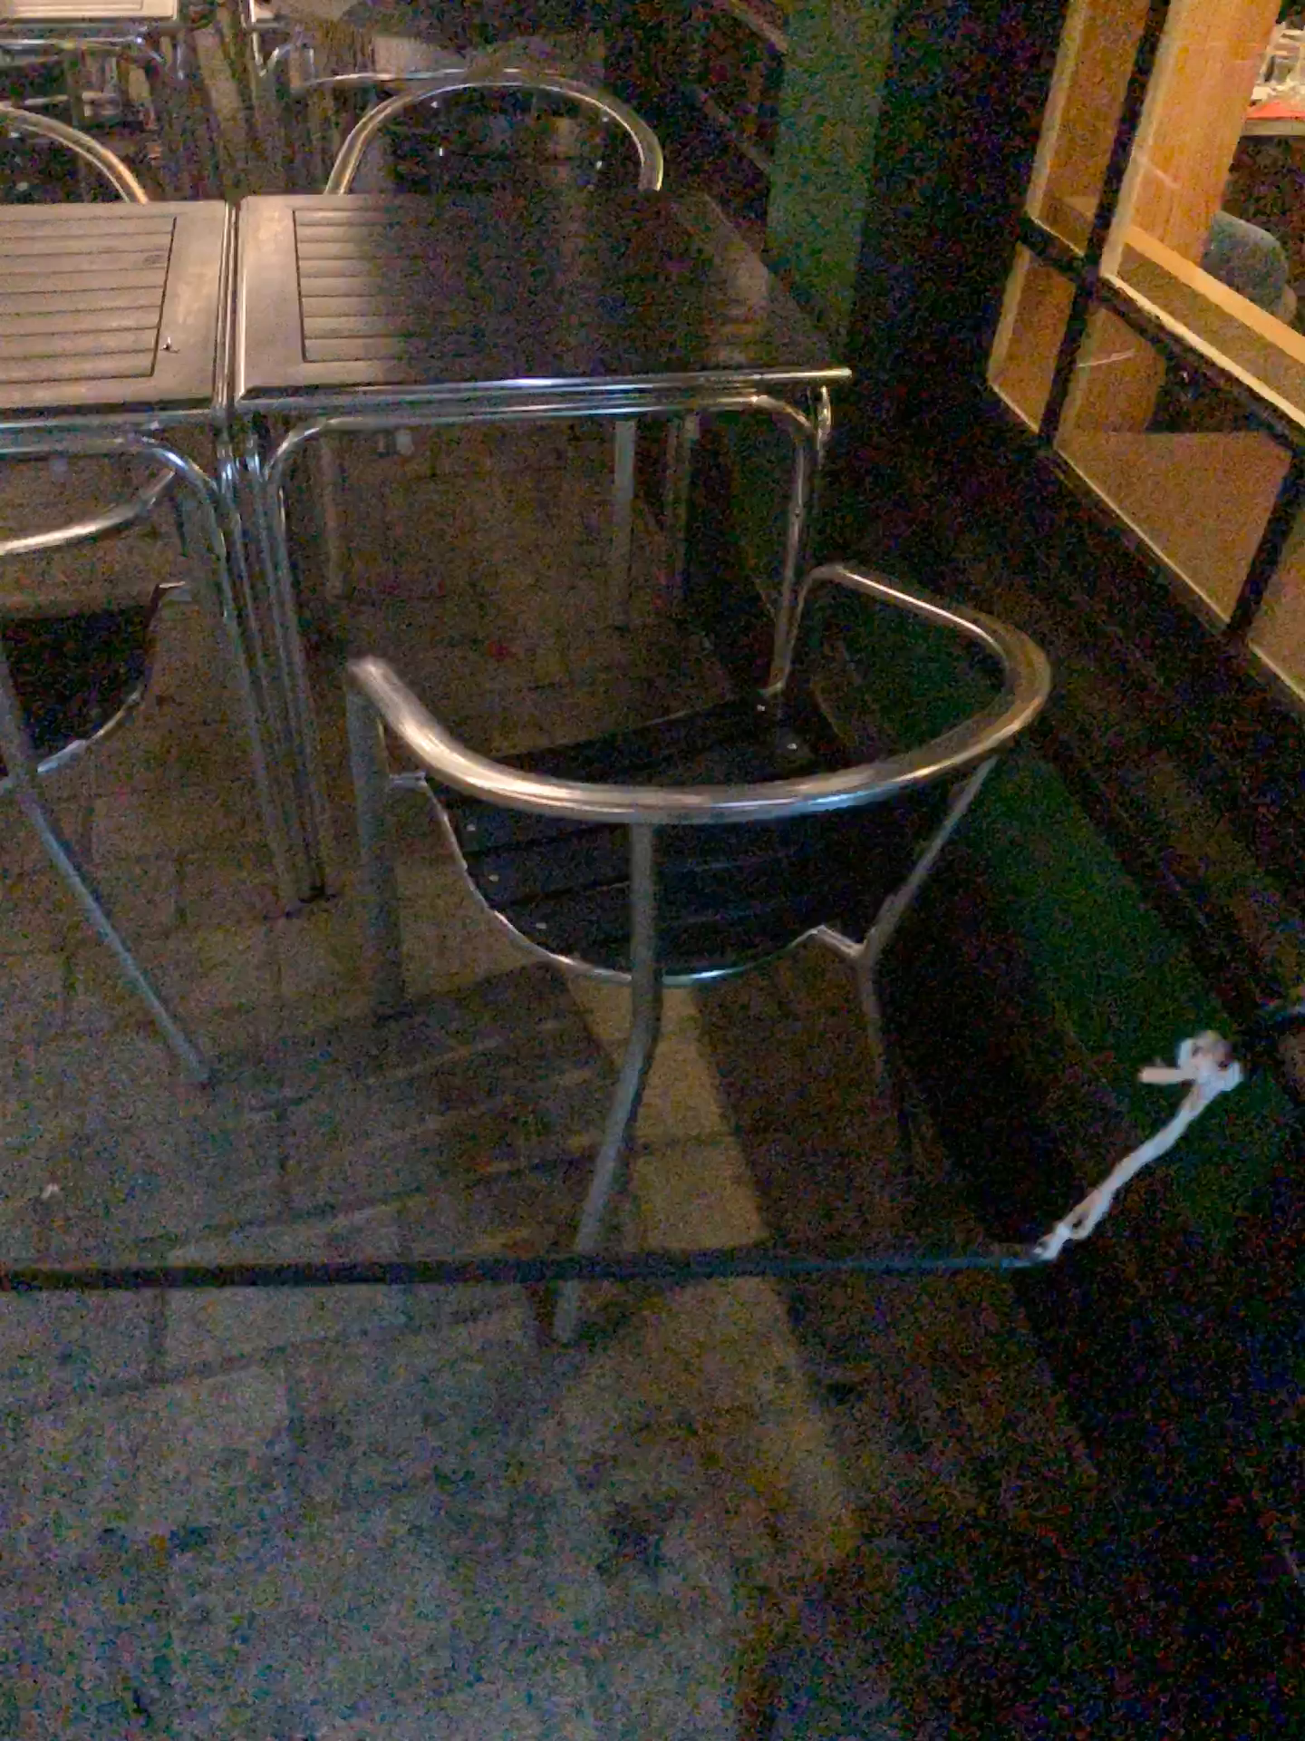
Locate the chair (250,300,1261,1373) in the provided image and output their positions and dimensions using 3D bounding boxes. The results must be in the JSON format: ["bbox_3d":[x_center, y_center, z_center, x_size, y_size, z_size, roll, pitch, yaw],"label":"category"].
[{"bbox_3d":[0.033,-0.065,1.421,0.661,0.782,0.655,-15,45,-20],"label":"chair"}]
